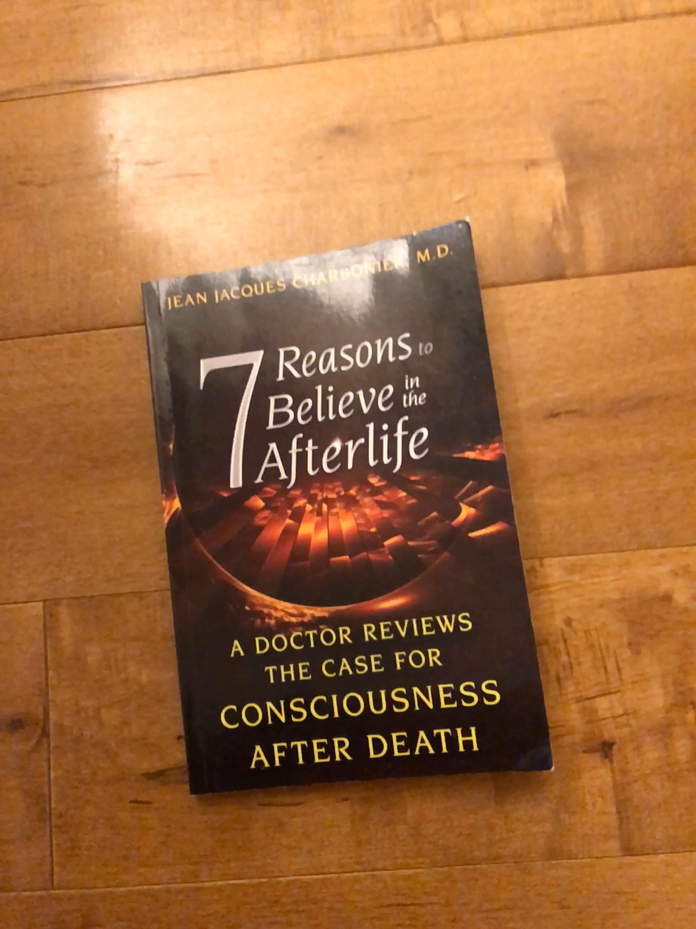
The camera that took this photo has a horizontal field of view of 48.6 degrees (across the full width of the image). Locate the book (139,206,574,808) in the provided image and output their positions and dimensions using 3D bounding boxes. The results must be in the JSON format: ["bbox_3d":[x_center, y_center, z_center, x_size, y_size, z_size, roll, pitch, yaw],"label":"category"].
[{"bbox_3d":[-0.003,0.020,0.361,0.170,0.030,0.250,-8,82,11],"label":"book"}]
